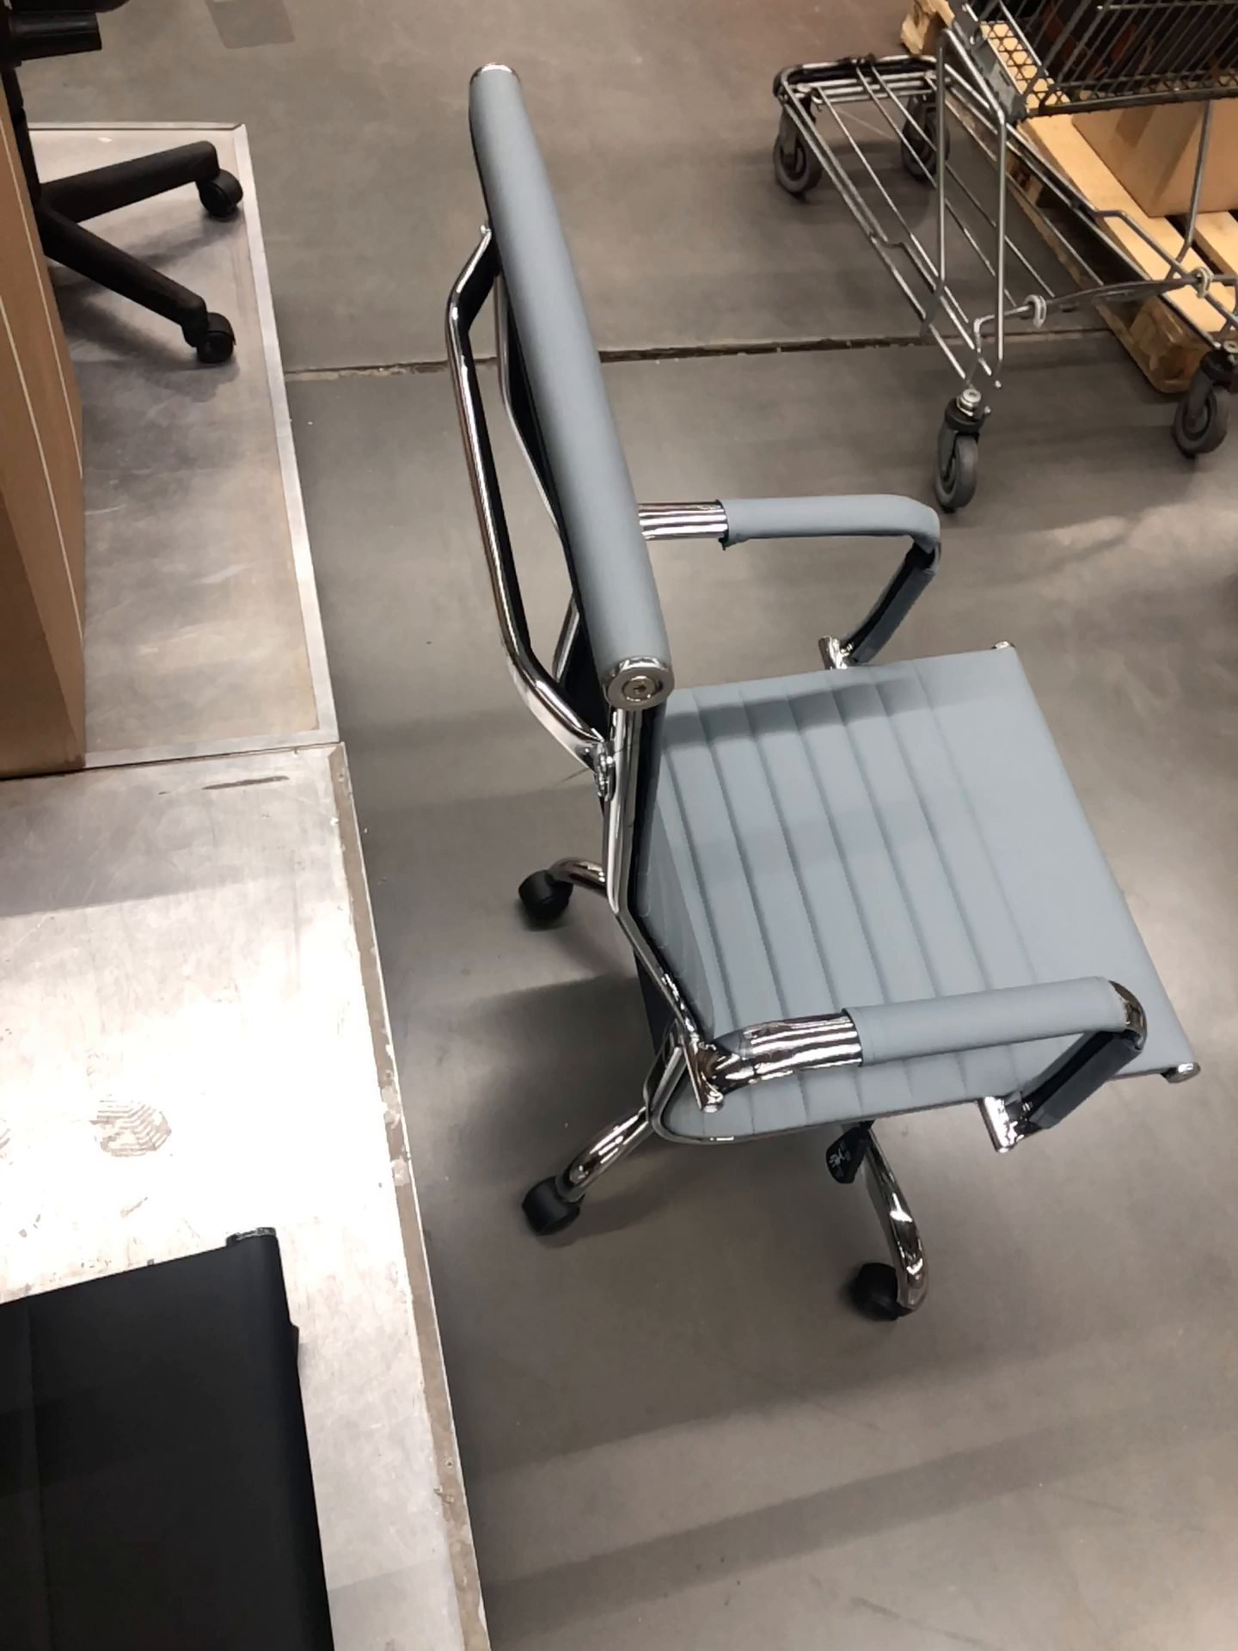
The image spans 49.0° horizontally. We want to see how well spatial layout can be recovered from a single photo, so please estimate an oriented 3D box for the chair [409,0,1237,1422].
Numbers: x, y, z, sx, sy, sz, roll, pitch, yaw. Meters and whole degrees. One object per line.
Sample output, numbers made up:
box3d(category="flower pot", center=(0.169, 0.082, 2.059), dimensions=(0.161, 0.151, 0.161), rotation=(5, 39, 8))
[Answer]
box3d(category="chair", center=(0.224, -0.001, 1.248), dimensions=(0.751, 1.213, 0.713), rotation=(-5, 59, -12))
